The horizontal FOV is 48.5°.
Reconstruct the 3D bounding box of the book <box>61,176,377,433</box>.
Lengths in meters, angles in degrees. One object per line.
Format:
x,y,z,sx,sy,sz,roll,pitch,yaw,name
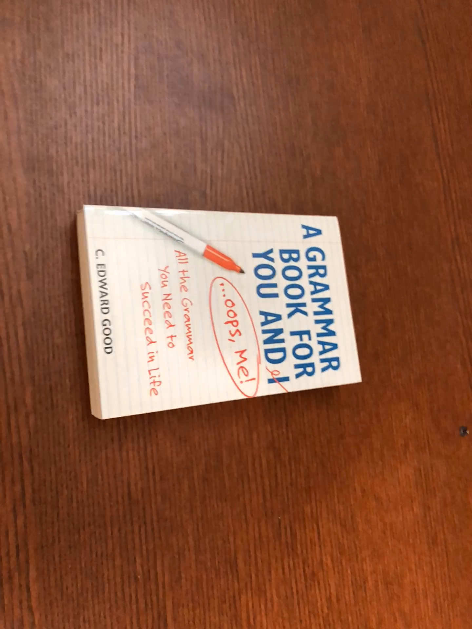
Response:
-0.005,-0.010,0.414,0.241,0.040,0.170,-2,82,-28,book
